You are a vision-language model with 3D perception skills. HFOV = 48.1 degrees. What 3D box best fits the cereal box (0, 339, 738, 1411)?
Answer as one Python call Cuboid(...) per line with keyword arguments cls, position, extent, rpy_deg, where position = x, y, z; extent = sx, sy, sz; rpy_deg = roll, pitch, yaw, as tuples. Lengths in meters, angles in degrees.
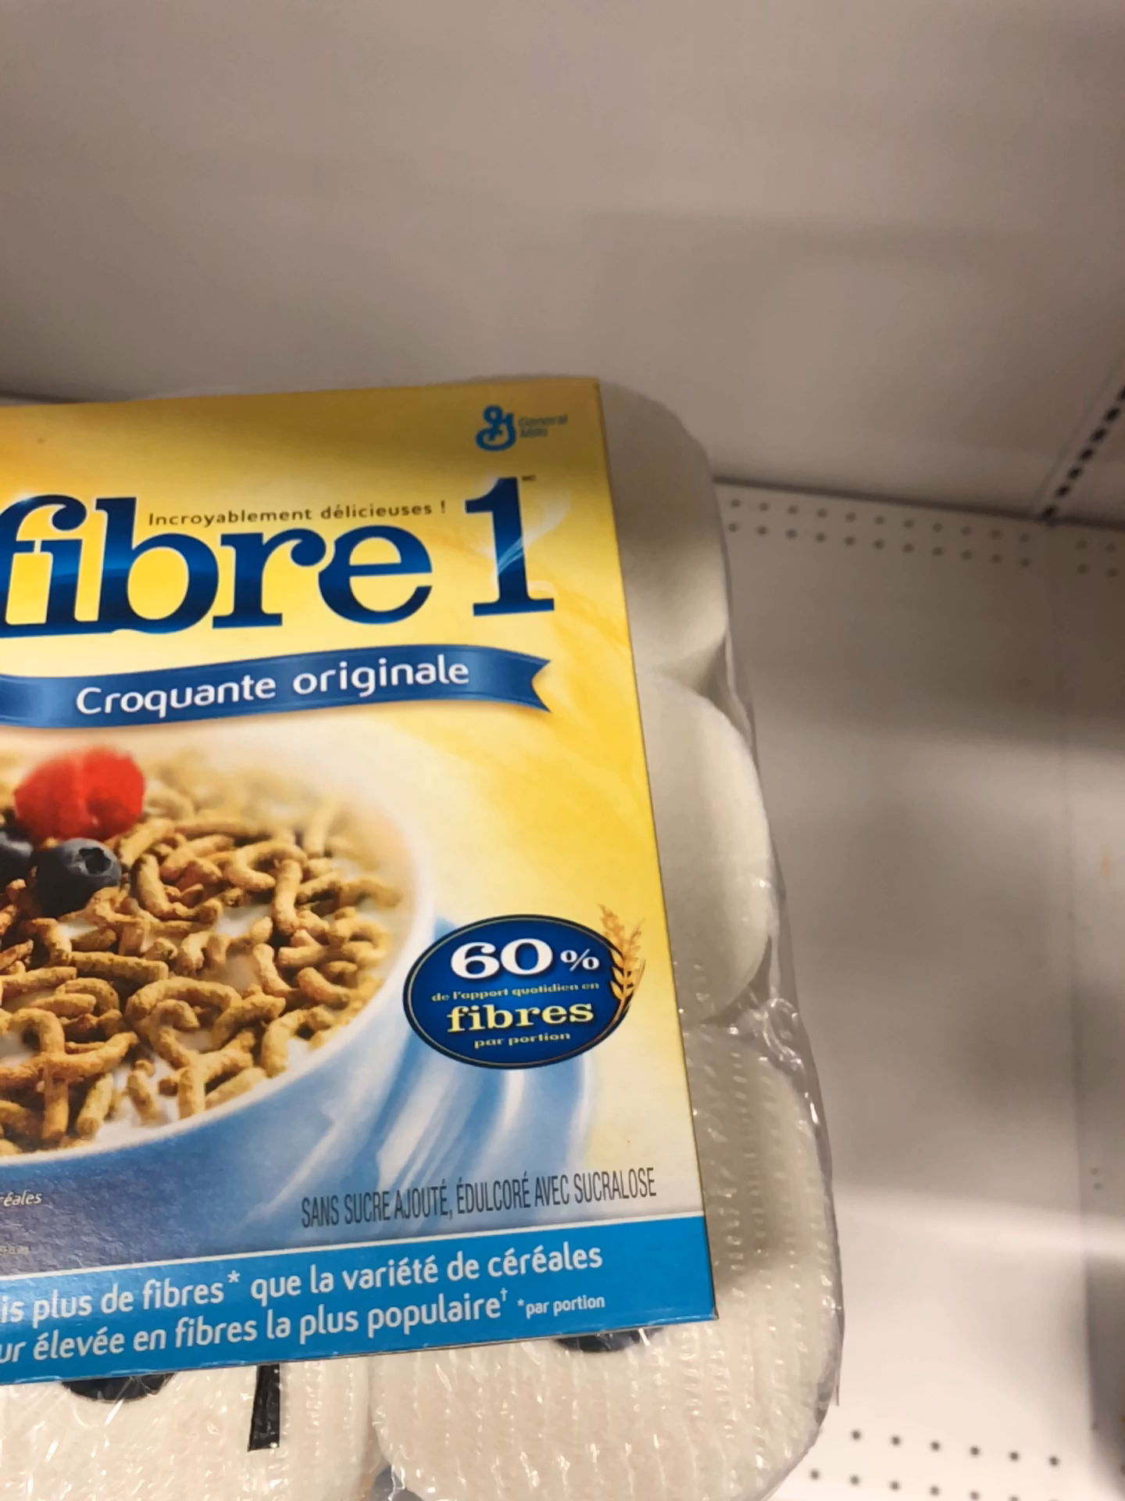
Cuboid(cls="cereal box", position=(-0.073, 0.019, 0.338), extent=(0.200, 0.060, 0.260), rpy_deg=(-4, 68, -3))
